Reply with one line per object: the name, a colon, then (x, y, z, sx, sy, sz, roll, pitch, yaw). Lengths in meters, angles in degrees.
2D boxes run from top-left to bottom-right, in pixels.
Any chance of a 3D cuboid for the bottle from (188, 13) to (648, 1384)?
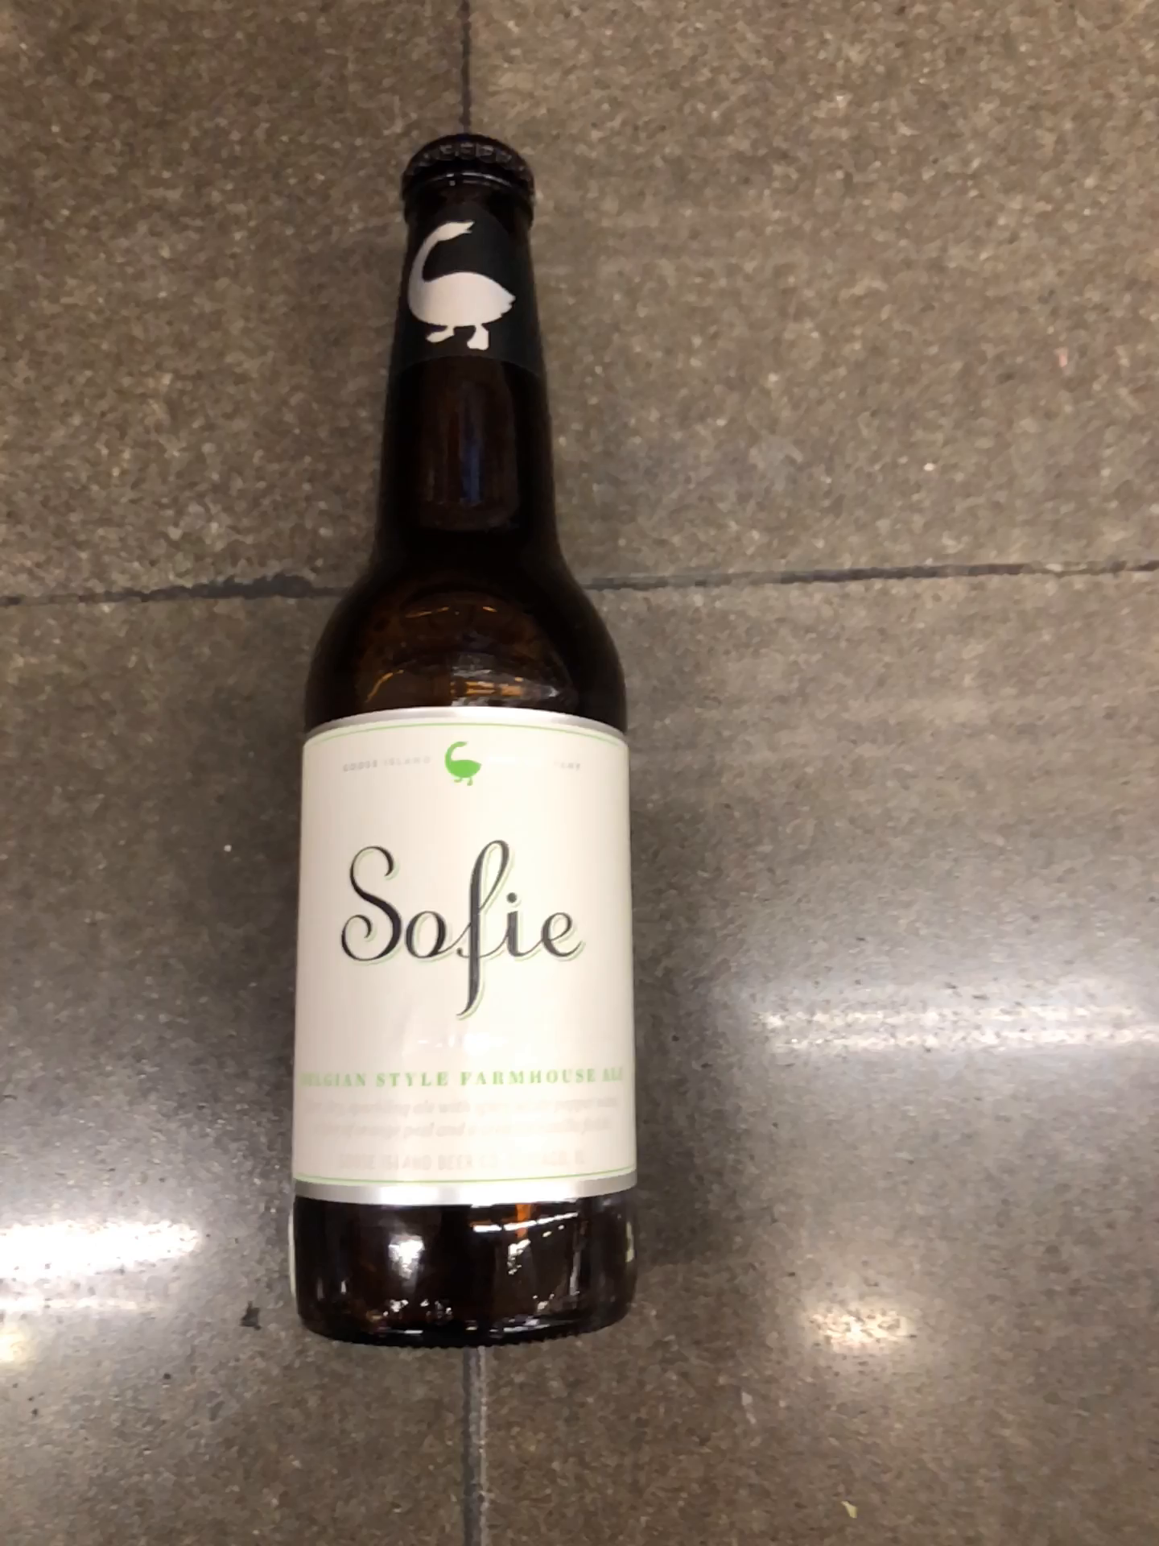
bottle: (-0.029, -0.022, 0.242, 0.070, 0.040, 0.240, -3, 78, 2)
